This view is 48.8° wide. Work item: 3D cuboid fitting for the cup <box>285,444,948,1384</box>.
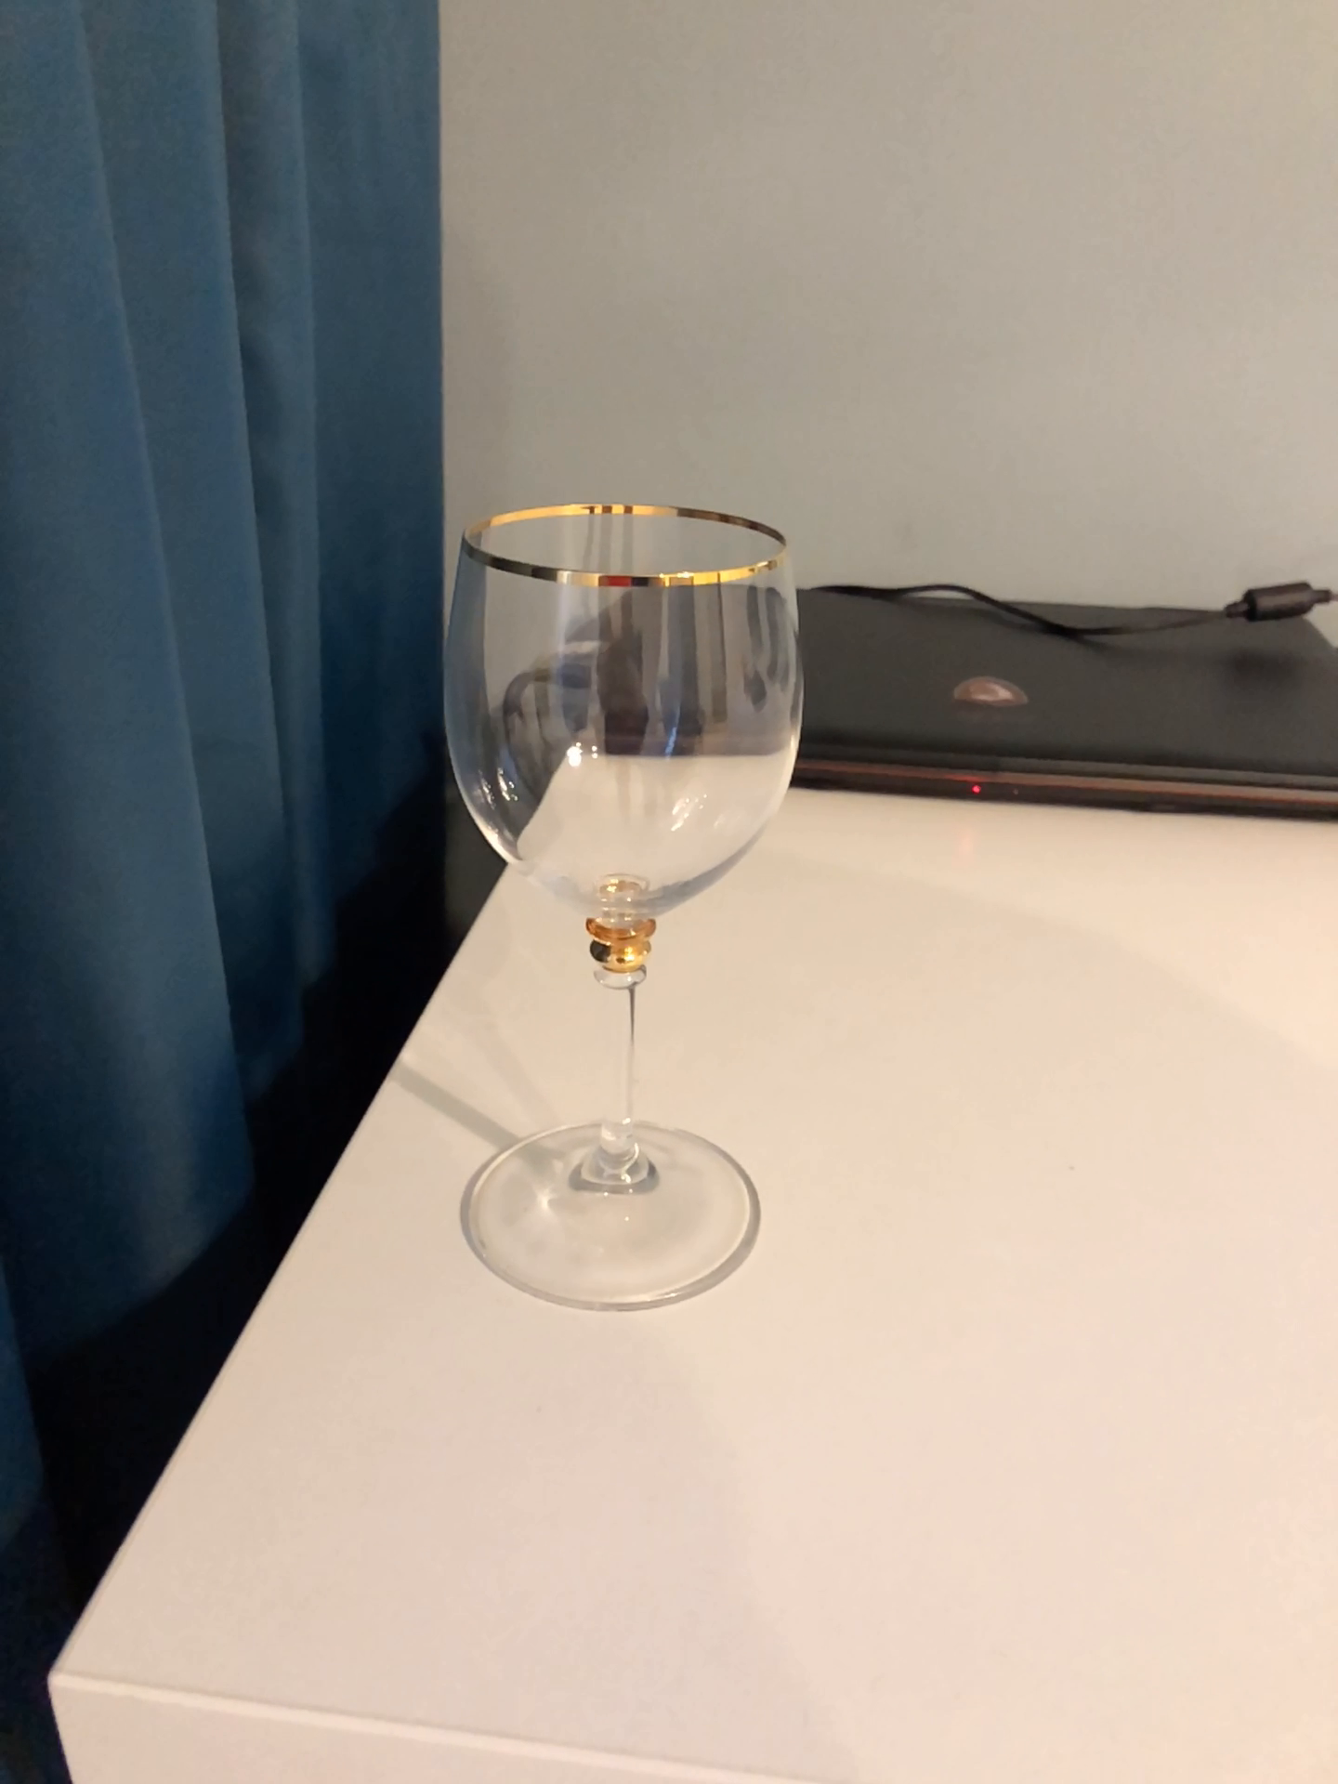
[{"bbox_3d":[-0.012,-0.004,0.351,0.100,0.179,0.100,1,24,0],"label":"cup"}]
